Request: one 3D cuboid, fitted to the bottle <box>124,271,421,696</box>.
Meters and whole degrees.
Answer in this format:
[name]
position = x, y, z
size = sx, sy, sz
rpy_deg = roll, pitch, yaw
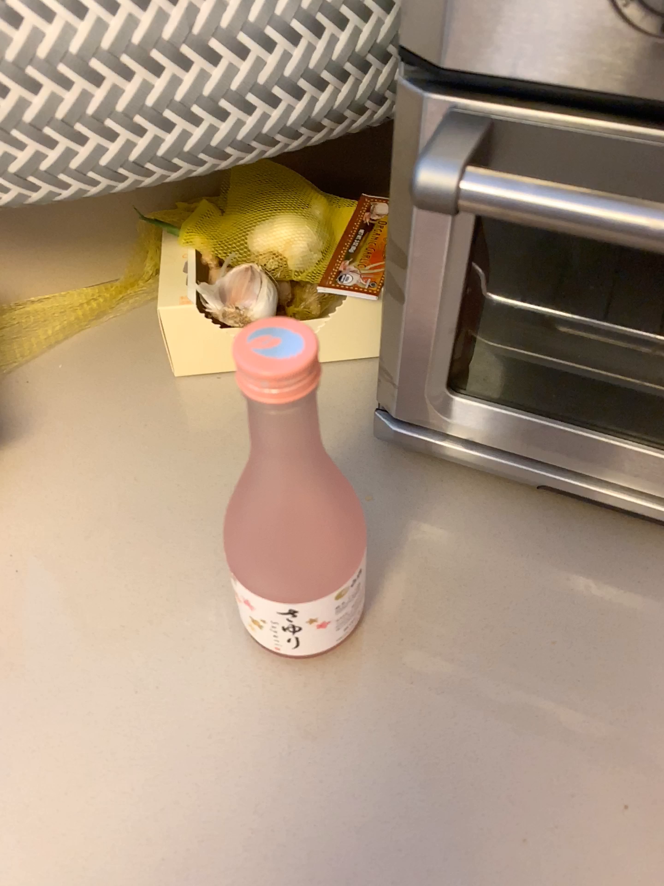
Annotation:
[bottle]
position = -0.016, 0.027, 0.287
size = 0.070, 0.169, 0.070
rpy_deg = -1, 49, 1
